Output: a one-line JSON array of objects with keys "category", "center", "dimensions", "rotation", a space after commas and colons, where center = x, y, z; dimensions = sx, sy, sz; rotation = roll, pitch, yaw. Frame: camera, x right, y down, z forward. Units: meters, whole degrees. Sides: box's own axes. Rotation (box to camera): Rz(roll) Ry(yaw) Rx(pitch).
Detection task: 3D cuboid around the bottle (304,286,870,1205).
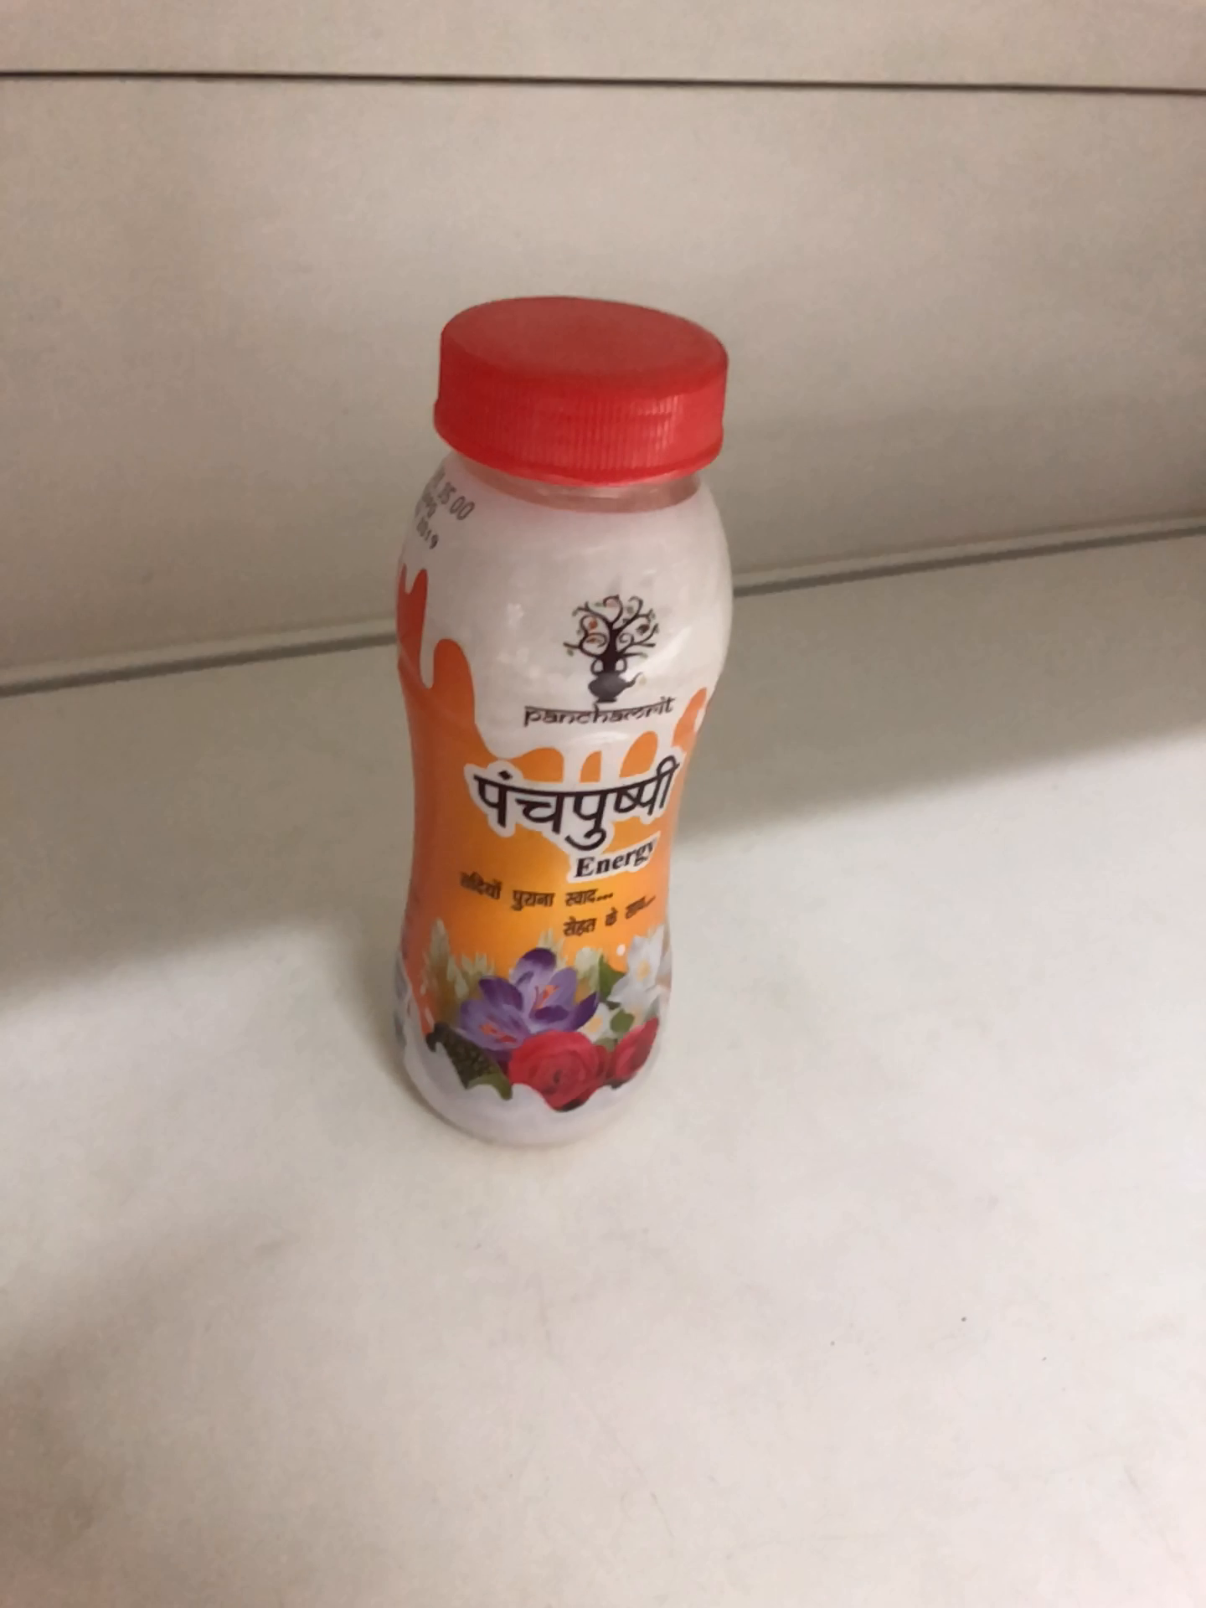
[{"category": "bottle", "center": [-0.008, -0.009, 0.221], "dimensions": [0.060, 0.129, 0.060], "rotation": [2, 33, -1]}]
